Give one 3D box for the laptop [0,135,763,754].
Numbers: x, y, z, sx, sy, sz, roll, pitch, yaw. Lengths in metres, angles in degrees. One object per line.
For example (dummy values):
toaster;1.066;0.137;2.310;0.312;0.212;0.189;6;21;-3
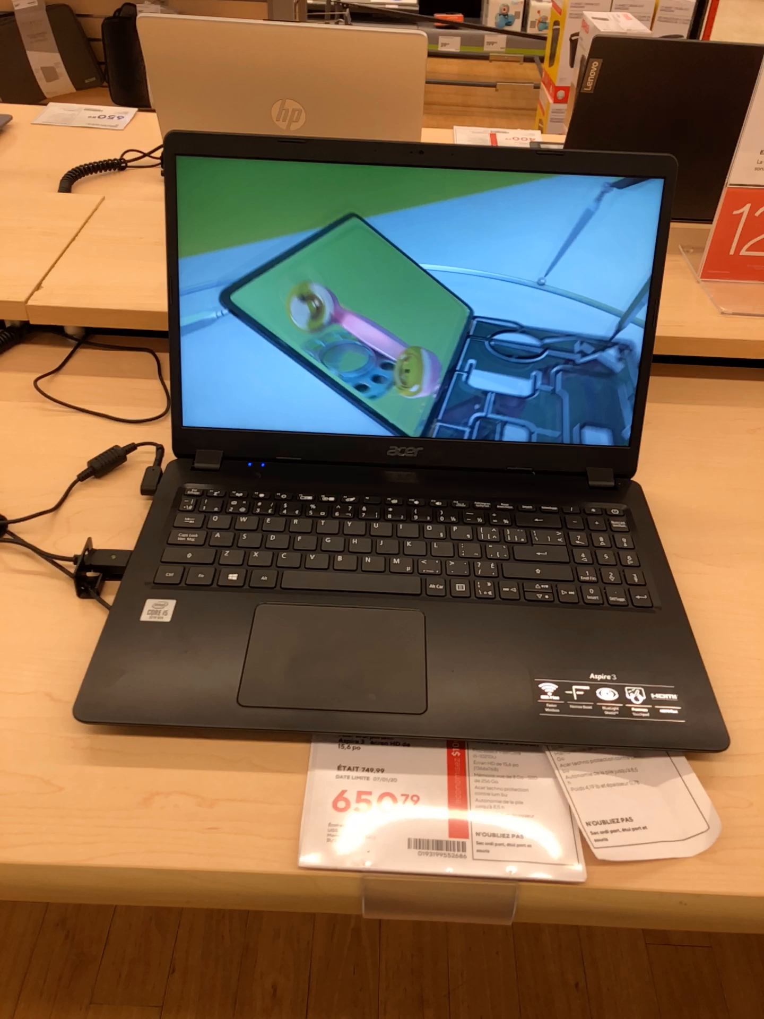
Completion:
laptop;0.019;-0.062;0.518;0.354;0.210;0.329;3;40;0
